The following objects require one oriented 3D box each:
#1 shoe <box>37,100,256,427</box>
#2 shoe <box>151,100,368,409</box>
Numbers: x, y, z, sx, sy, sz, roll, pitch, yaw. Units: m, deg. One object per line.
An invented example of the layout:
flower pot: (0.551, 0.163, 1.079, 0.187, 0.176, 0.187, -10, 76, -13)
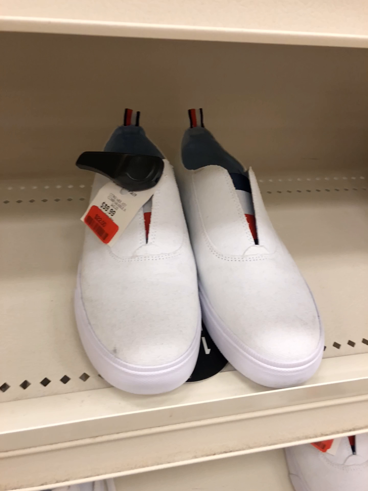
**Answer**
shoe: (-0.044, -0.024, 0.327, 0.100, 0.089, 0.293, -3, 37, -11)
shoe: (0.039, -0.028, 0.369, 0.100, 0.109, 0.303, -3, 37, -11)
